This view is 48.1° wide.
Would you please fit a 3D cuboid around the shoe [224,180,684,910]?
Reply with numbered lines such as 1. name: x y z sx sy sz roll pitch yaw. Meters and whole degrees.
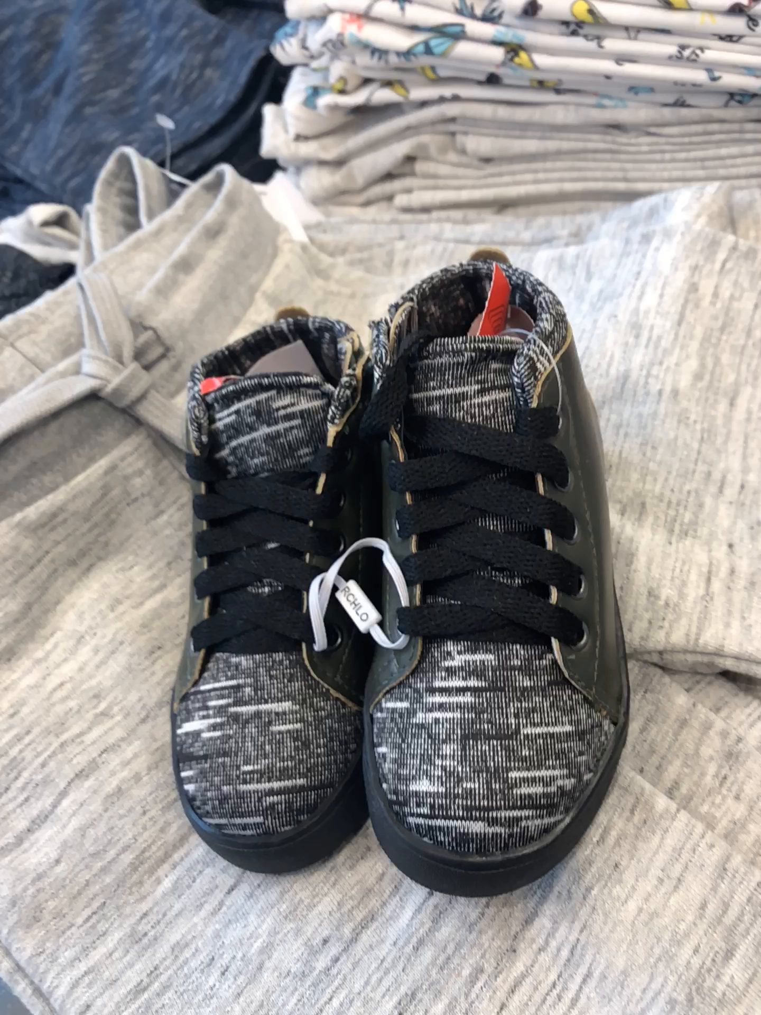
1. shoe: 0.028 0.005 0.232 0.080 0.089 0.171 -3 52 13

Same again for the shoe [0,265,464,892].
1. shoe: -0.027 0.017 0.261 0.080 0.089 0.161 -1 53 15
